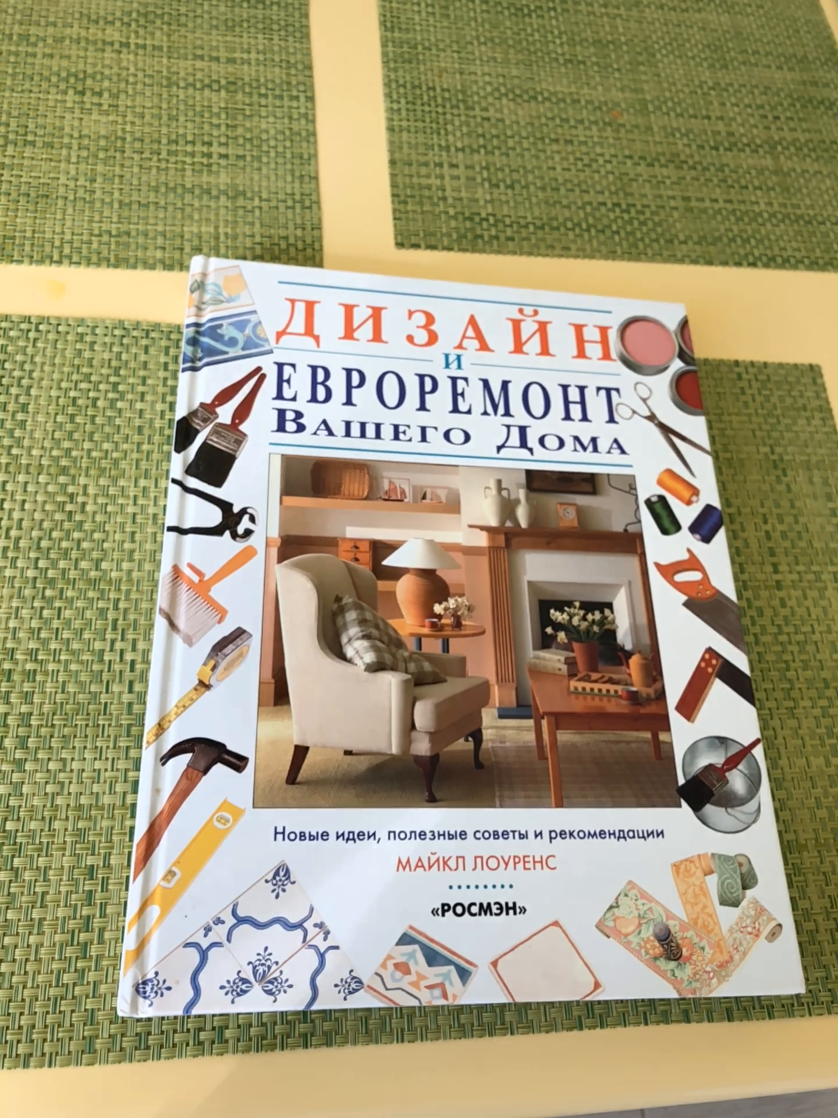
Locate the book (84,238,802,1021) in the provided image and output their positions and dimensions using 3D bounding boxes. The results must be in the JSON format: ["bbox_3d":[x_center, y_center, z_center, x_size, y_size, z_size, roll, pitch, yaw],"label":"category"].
[{"bbox_3d":[0.008,0.013,0.343,0.213,0.038,0.276,4,65,-10],"label":"book"}]
